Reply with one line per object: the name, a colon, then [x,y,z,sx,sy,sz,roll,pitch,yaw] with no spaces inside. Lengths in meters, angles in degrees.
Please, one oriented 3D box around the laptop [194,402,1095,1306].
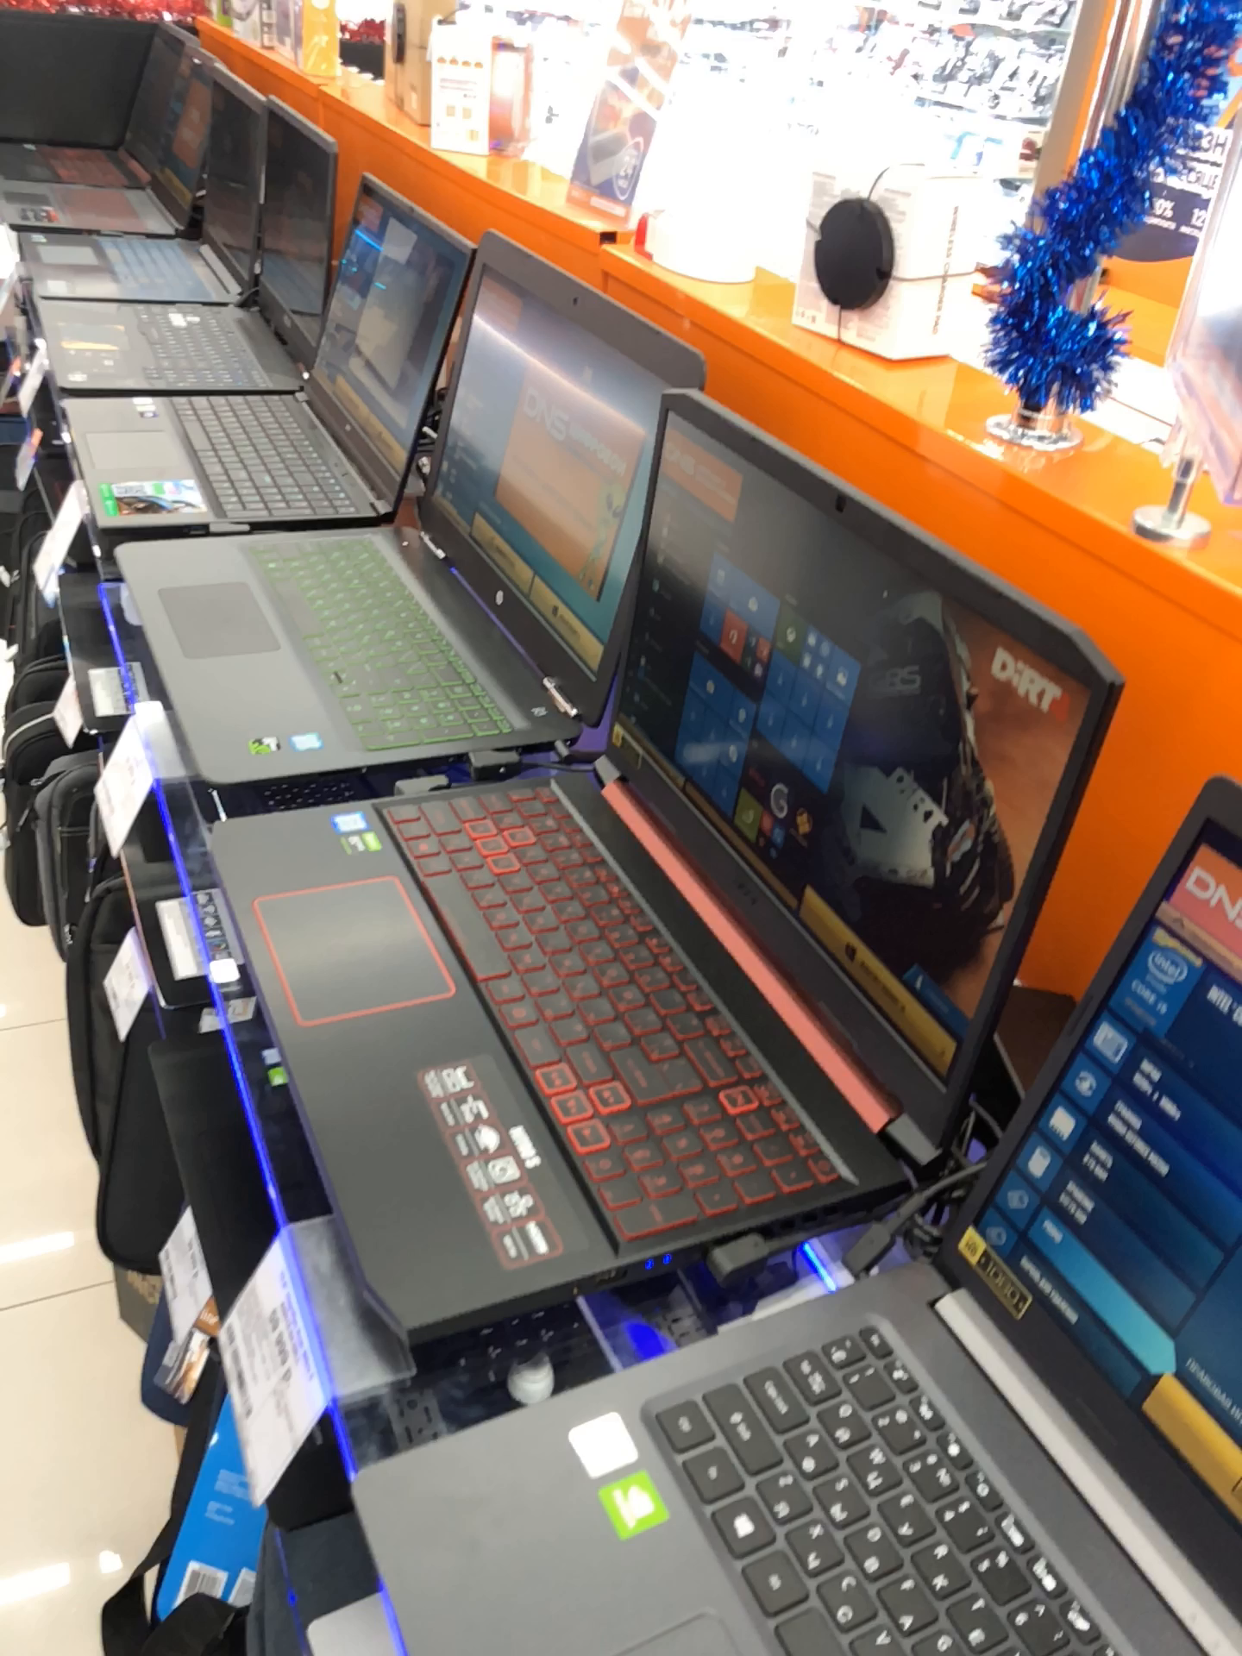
laptop: [-0.027,-0.026,0.615,0.251,0.231,0.330,-9,35,-25]
